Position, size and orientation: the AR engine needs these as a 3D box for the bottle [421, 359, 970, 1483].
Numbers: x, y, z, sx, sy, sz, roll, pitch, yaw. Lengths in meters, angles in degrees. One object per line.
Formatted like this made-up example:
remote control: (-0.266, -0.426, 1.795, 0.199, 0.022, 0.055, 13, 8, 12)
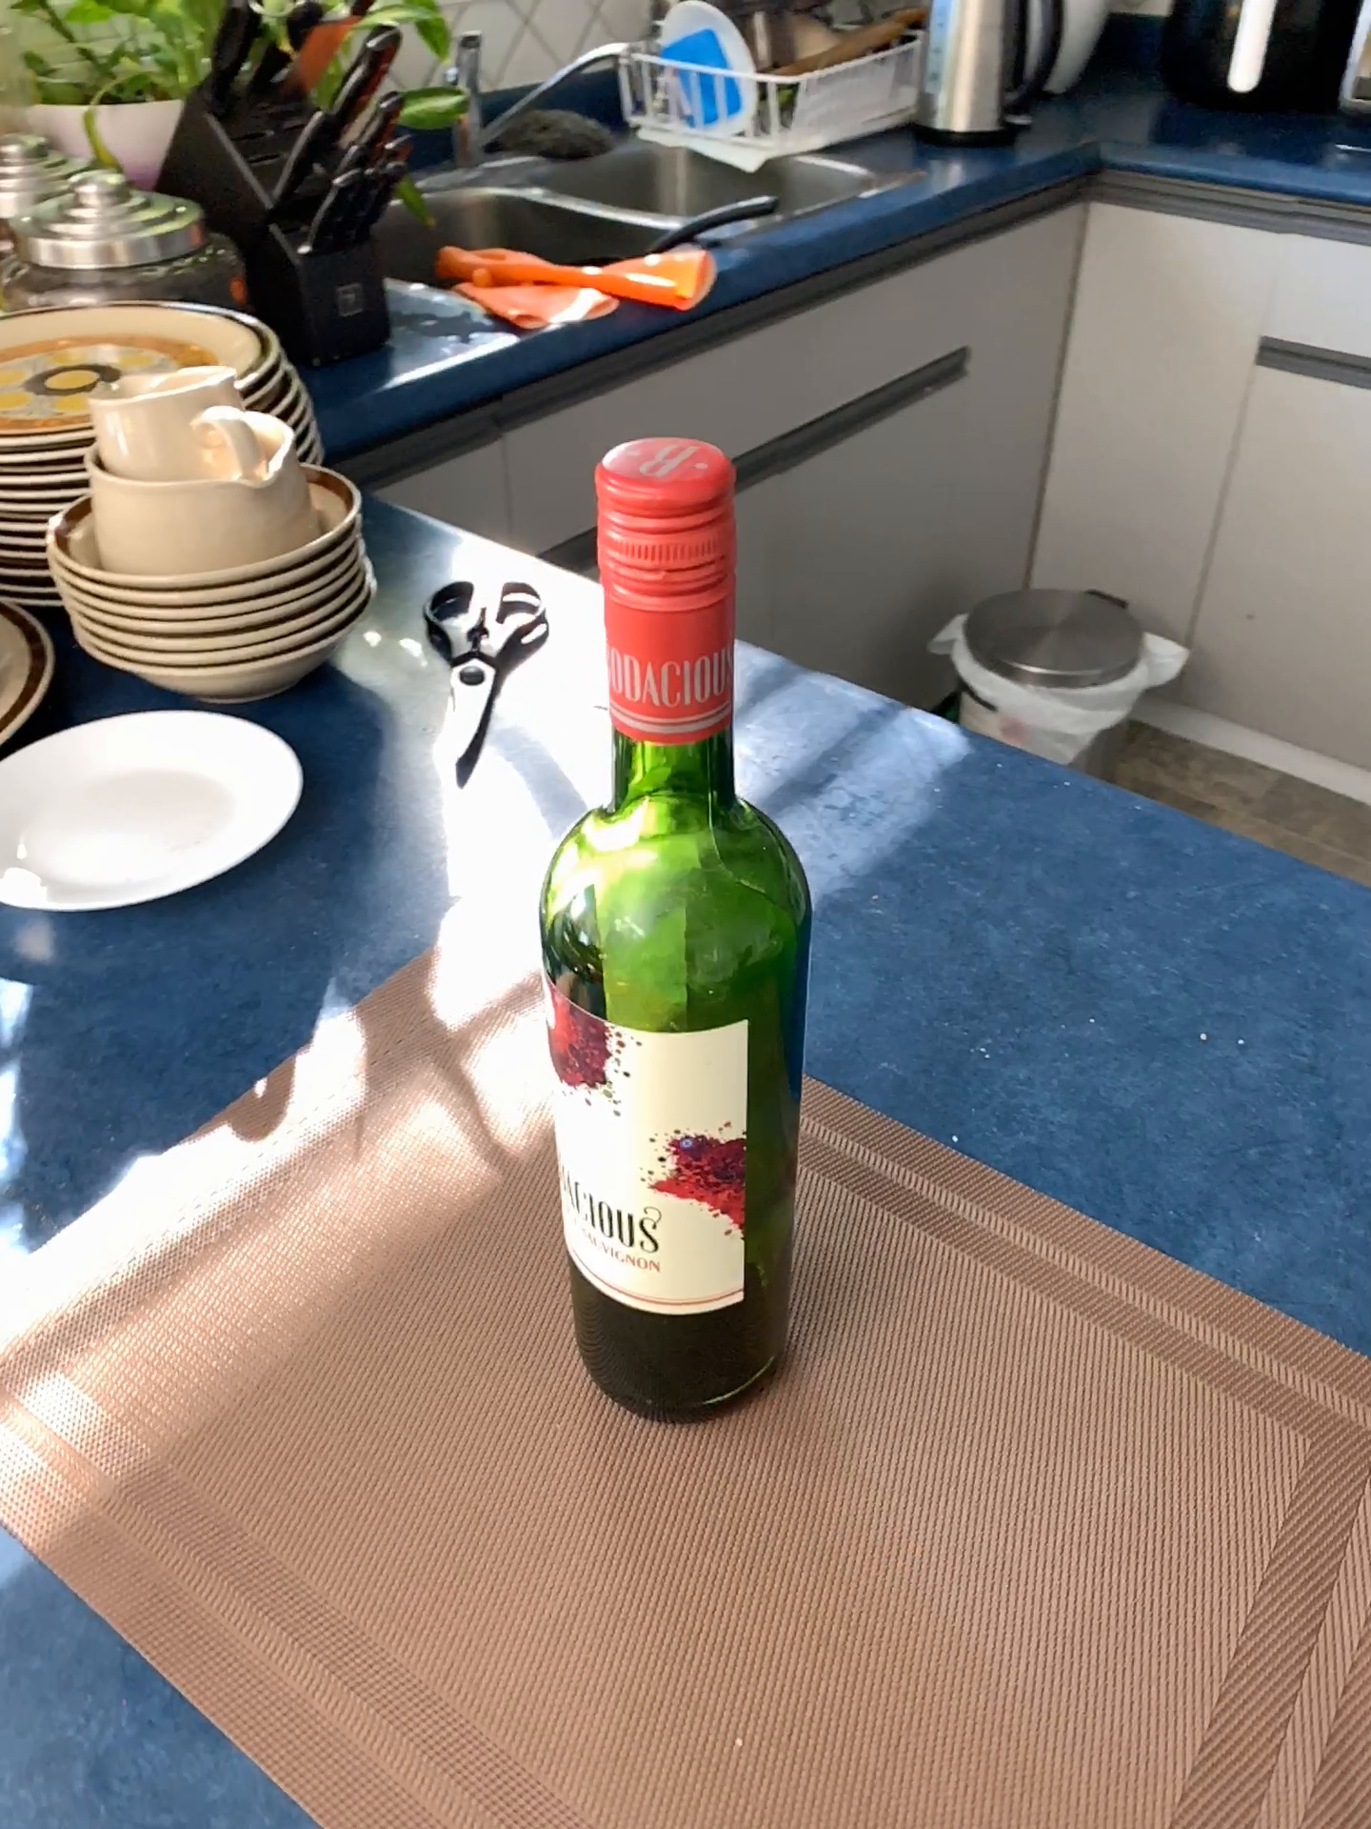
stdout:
bottle: (0.002, 0.021, 0.380, 0.080, 0.297, 0.080, 0, 38, 0)
